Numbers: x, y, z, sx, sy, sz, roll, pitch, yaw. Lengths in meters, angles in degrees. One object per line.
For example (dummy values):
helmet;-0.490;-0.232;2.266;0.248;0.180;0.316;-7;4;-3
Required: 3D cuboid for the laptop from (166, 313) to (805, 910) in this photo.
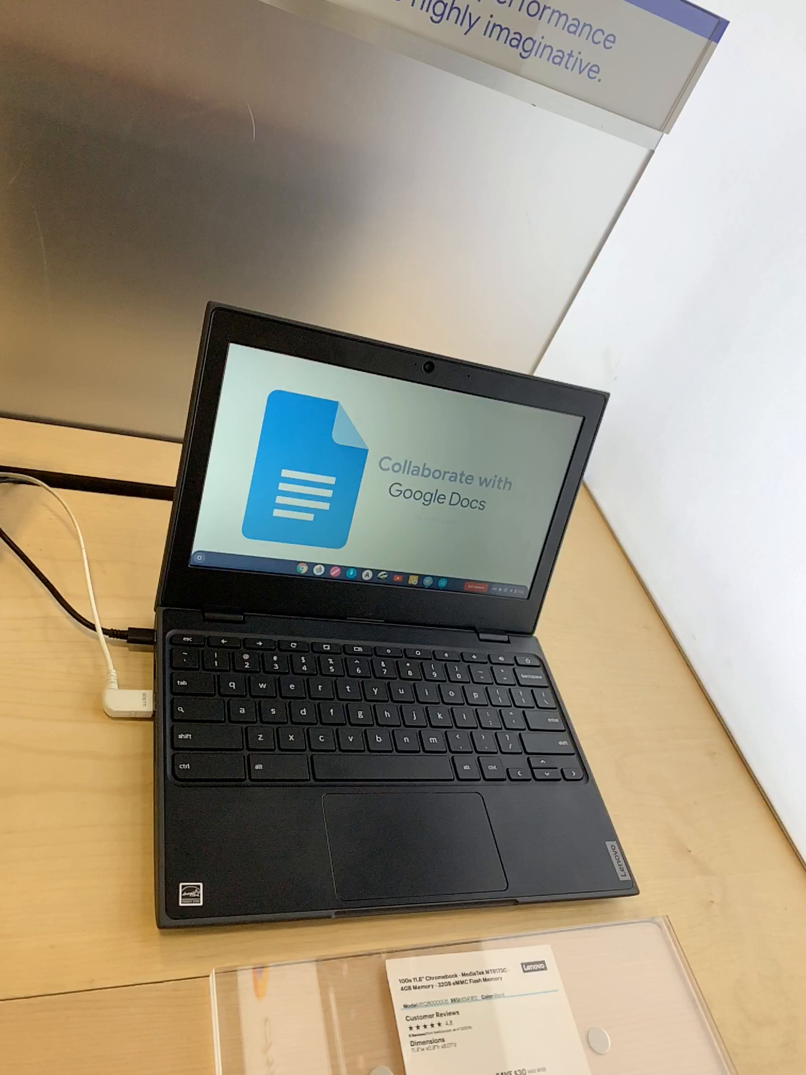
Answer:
laptop;0.020;0.038;0.486;0.276;0.170;0.266;7;42;-22
